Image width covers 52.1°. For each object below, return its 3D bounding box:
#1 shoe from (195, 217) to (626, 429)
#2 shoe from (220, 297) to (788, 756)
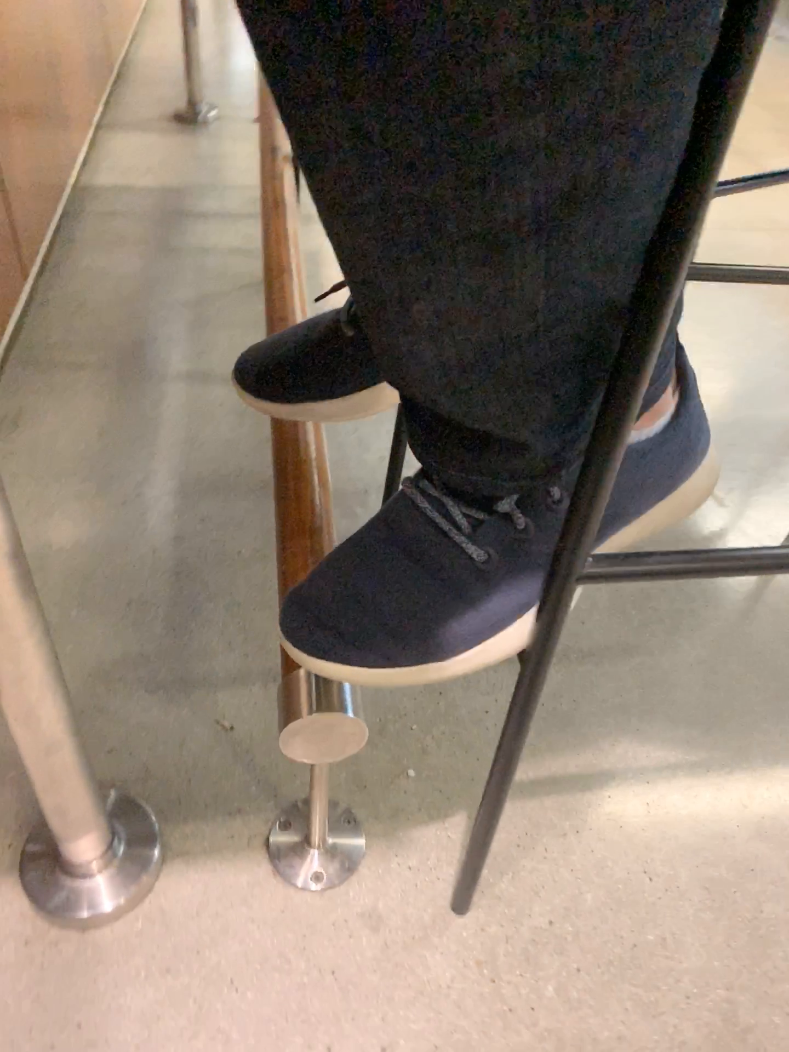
[{"bbox_3d":[0.017,-0.159,0.634,0.300,0.093,0.129,-3,37,10],"label":"shoe"},{"bbox_3d":[0.070,-0.013,0.472,0.299,0.093,0.124,-27,46,-15],"label":"shoe"}]
